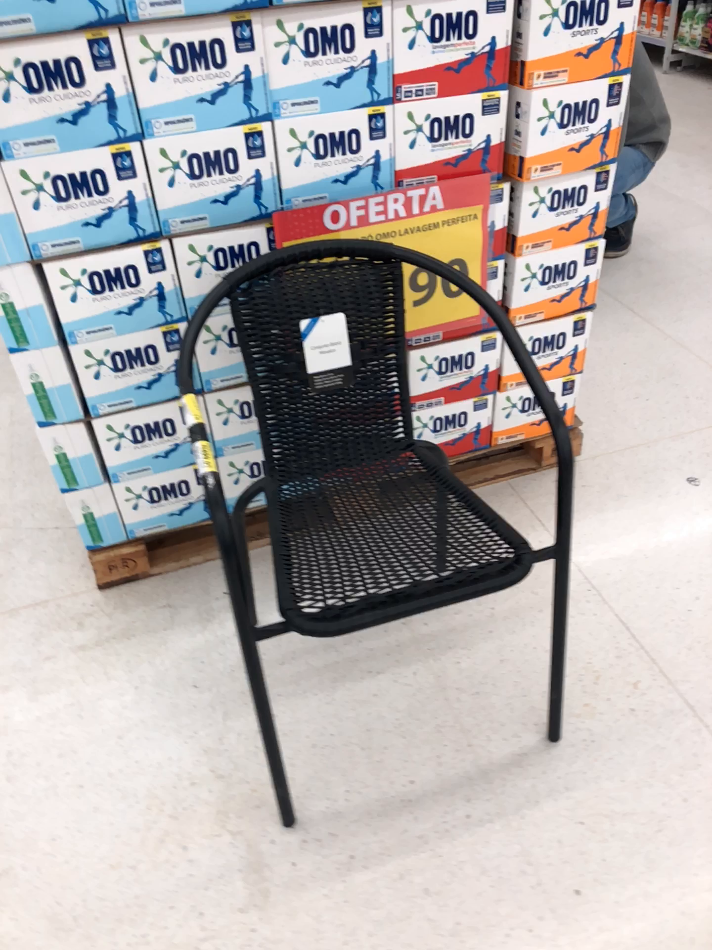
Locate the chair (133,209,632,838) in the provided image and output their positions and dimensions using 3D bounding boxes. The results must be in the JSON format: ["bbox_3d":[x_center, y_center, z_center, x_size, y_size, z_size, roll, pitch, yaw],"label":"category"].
[{"bbox_3d":[0.010,0.064,1.219,0.500,0.725,0.503,-14,38,-12],"label":"chair"}]
